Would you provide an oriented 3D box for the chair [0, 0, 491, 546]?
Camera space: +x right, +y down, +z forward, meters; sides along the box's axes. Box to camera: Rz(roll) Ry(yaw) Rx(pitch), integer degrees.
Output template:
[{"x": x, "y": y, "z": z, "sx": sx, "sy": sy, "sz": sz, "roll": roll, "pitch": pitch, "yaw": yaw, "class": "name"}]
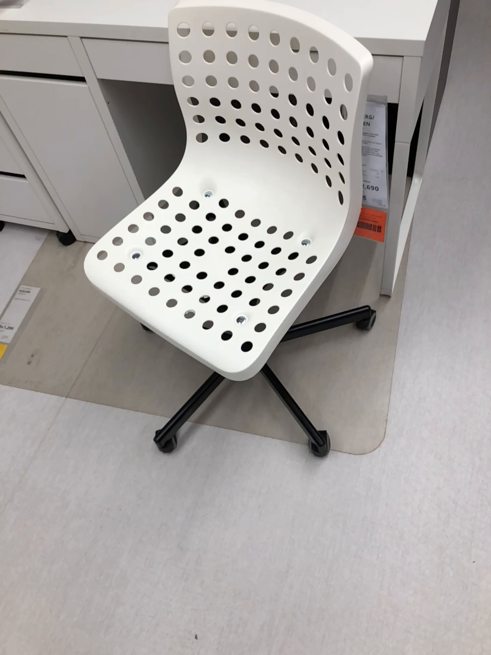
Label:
[{"x": -0.056, "y": -0.142, "z": 1.073, "sx": 0.672, "sy": 0.746, "sz": 0.651, "roll": 33, "pitch": 66, "yaw": 27, "class": "chair"}]
